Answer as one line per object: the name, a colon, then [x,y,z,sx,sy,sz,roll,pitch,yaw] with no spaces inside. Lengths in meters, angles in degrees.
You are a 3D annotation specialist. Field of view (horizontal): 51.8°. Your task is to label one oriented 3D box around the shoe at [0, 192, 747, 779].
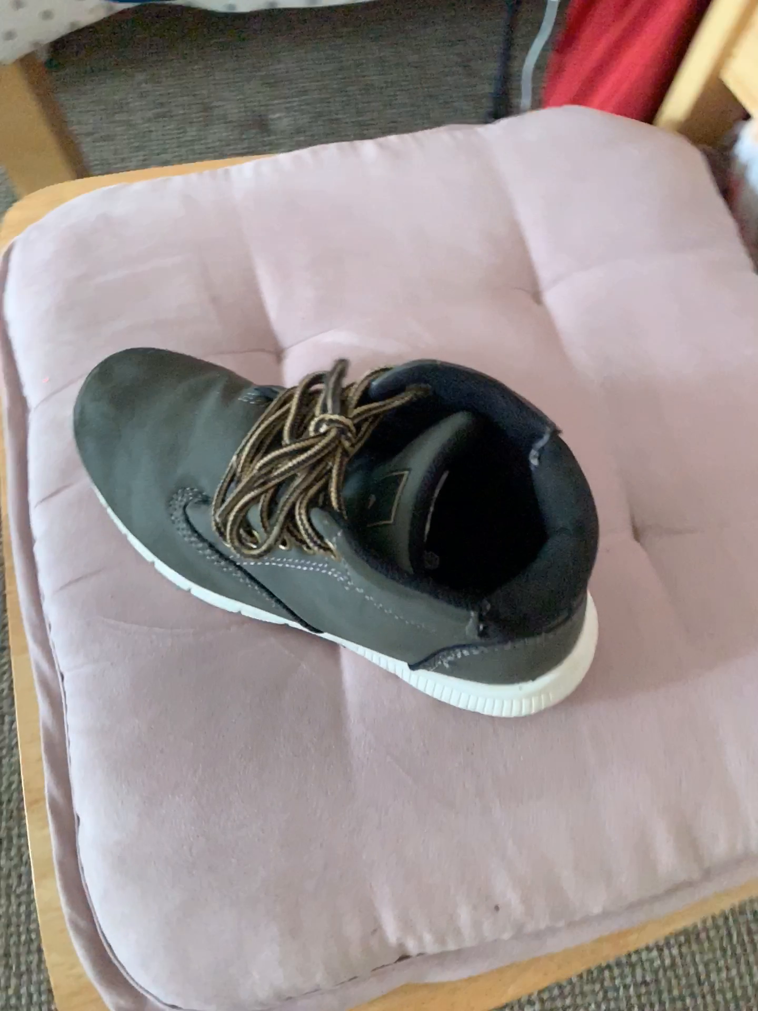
shoe: [-0.012,0.002,0.302,0.230,0.129,0.100,25,72,9]
